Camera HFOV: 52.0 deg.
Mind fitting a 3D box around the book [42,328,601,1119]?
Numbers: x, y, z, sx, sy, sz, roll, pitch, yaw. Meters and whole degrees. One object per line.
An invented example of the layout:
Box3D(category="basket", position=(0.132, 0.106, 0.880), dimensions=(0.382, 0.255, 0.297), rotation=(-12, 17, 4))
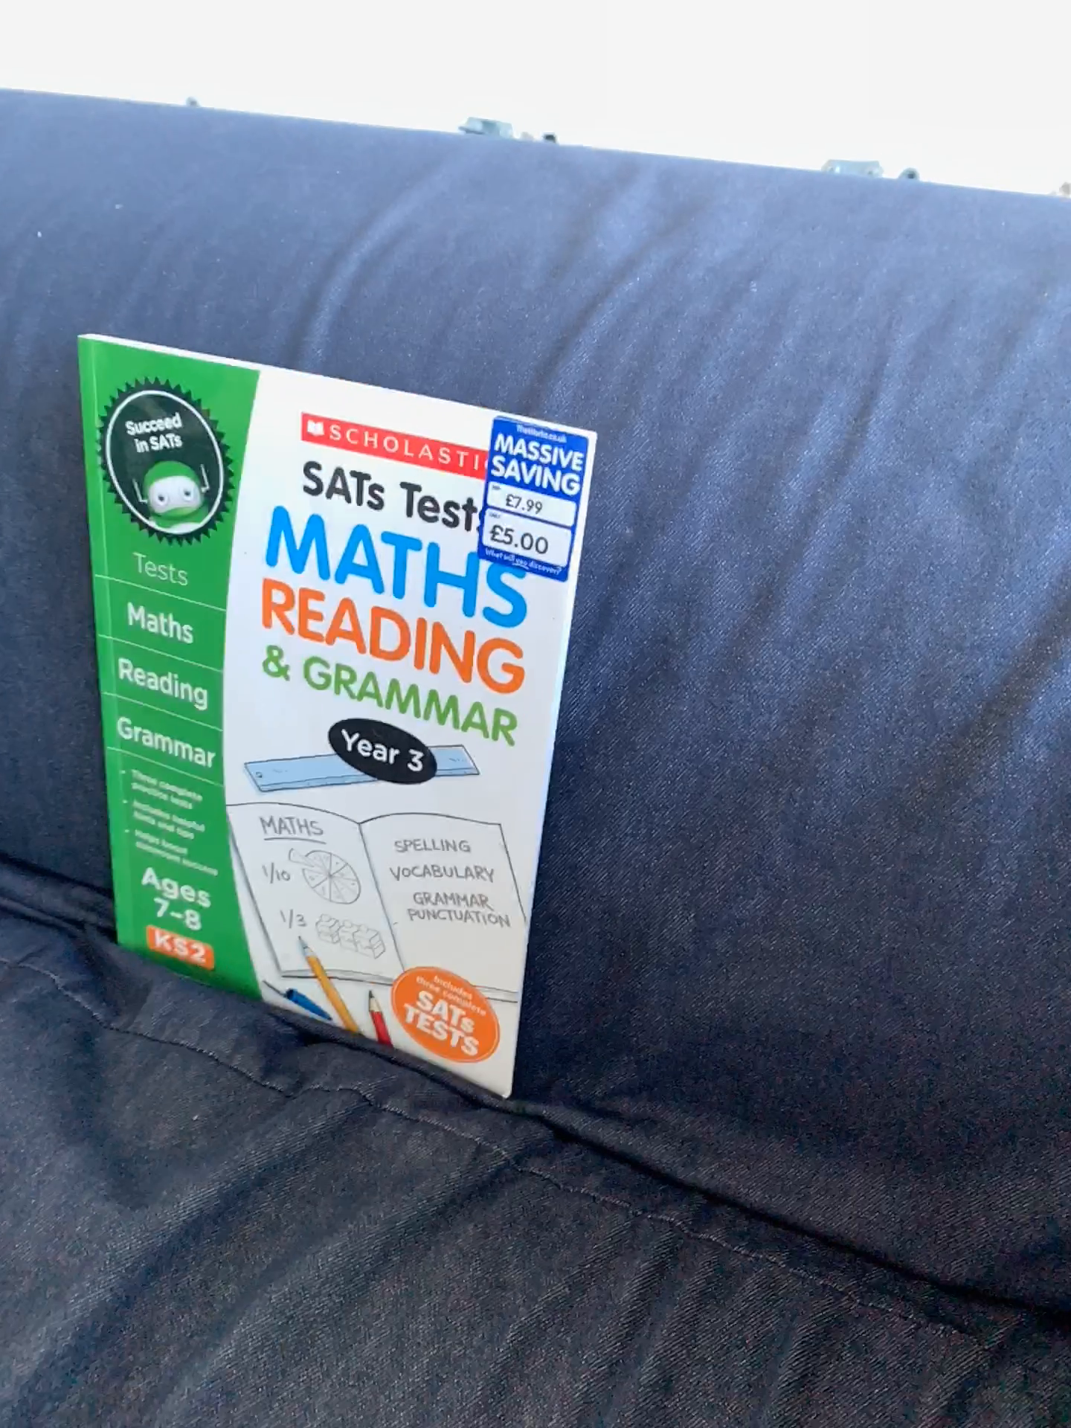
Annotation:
Box3D(category="book", position=(-0.092, 0.013, 0.444), dimensions=(0.209, 0.293, 0.022), rotation=(15, 29, 18))
